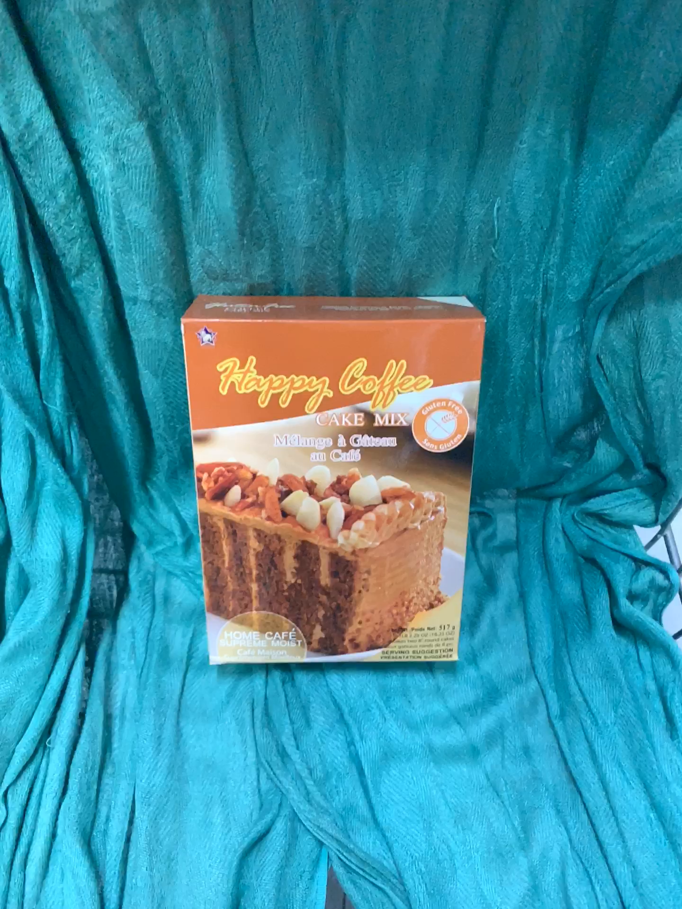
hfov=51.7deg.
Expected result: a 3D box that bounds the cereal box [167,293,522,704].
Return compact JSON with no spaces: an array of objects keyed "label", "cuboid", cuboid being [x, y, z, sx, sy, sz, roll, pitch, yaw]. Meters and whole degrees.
[{"label":"cereal box","cuboid":[0.000,0.028,0.362,0.150,0.210,0.050,0,23,-2]}]
